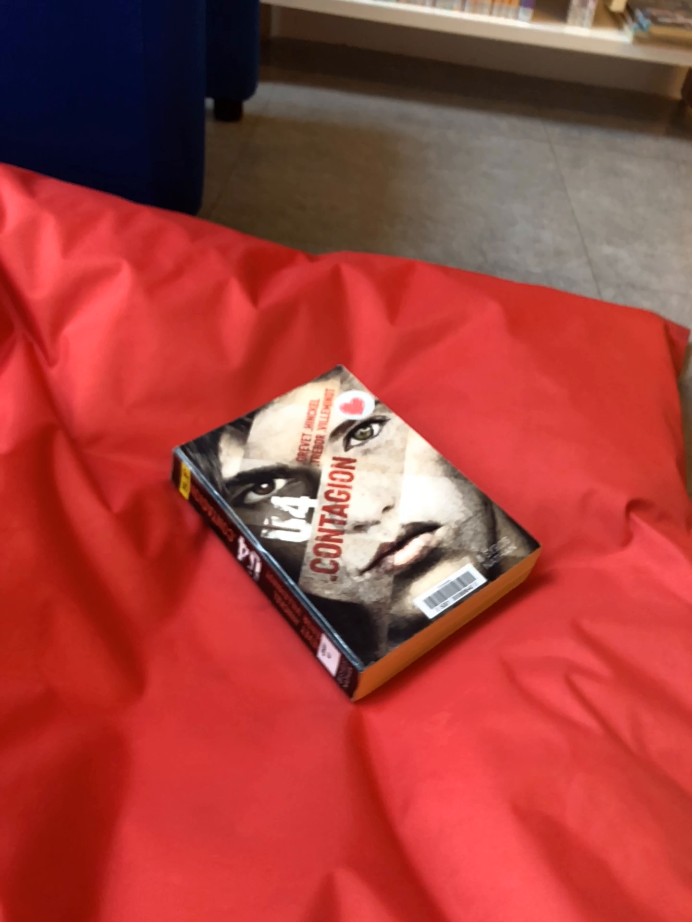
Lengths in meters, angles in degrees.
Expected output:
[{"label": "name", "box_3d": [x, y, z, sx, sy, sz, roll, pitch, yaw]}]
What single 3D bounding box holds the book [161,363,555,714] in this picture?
[{"label": "book", "box_3d": [0.002, 0.035, 0.538, 0.167, 0.038, 0.225, -29, 53, -25]}]
